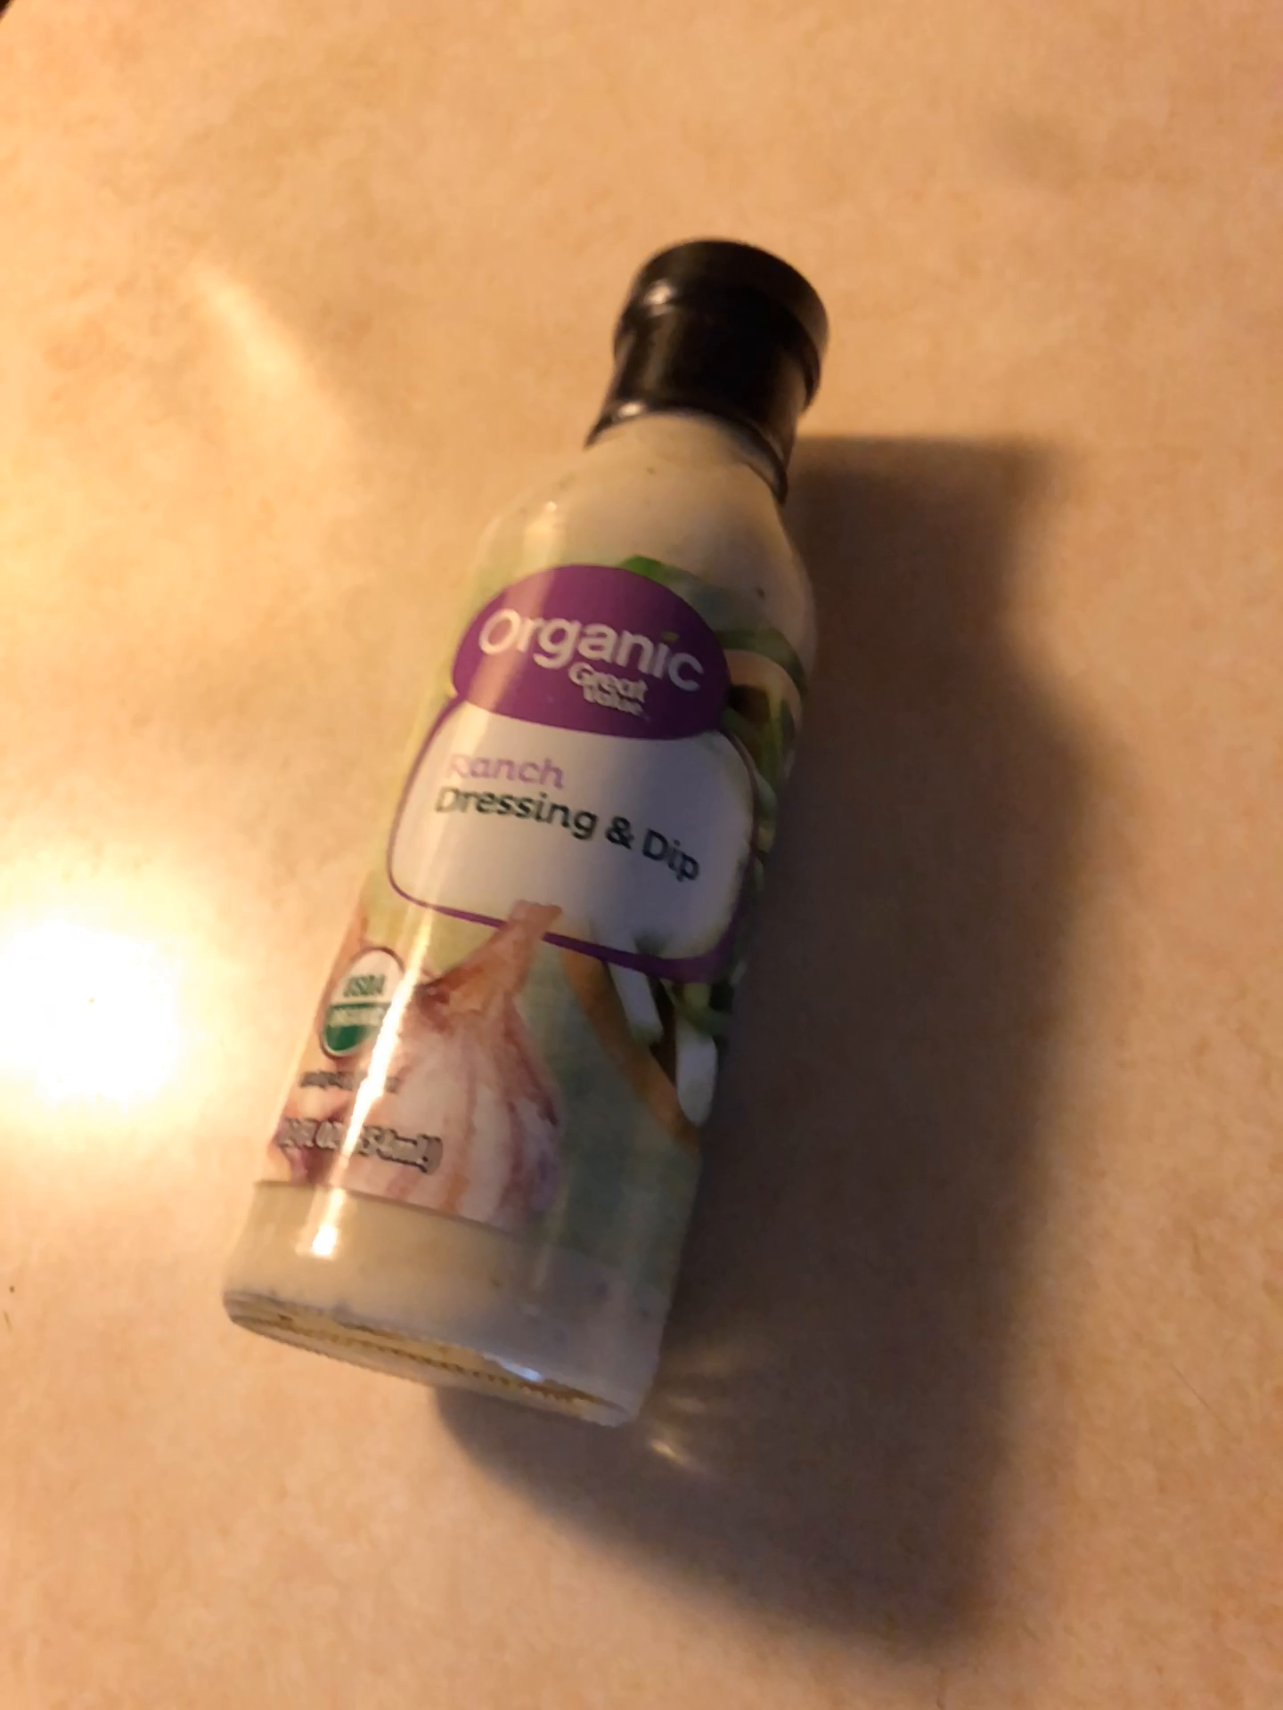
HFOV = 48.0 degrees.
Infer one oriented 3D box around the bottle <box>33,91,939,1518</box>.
[{"bbox_3d":[-0.005,-0.026,0.237,0.070,0.060,0.230,9,61,11],"label":"bottle"}]
